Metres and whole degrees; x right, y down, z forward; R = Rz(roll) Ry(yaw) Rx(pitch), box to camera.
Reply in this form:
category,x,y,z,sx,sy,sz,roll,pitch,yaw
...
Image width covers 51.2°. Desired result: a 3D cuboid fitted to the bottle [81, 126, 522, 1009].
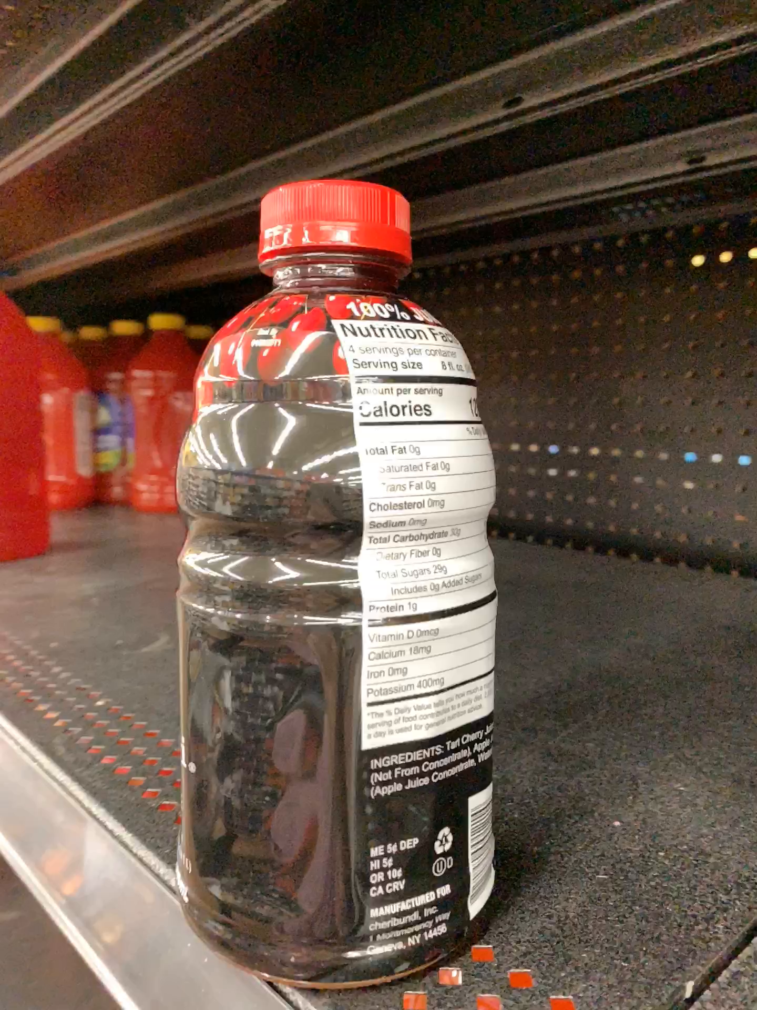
category,x,y,z,sx,sy,sz,roll,pitch,yaw
bottle,-0.013,0.019,0.221,0.090,0.205,0.095,0,8,0
